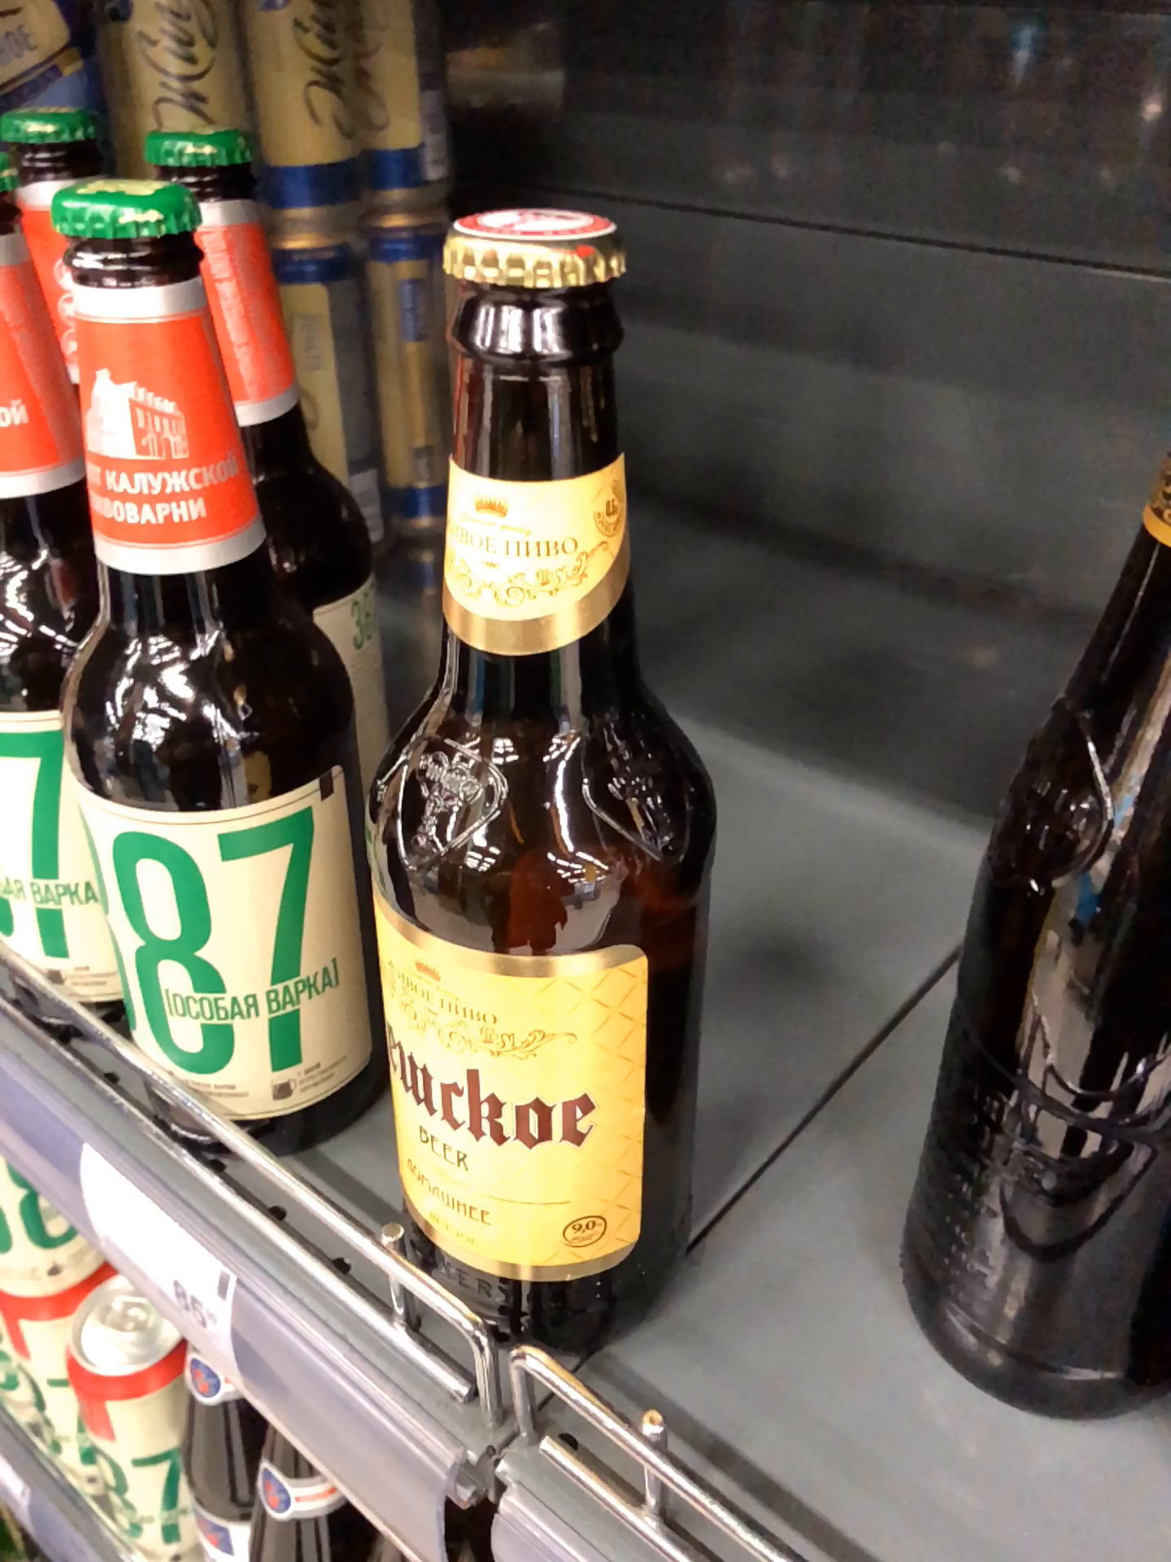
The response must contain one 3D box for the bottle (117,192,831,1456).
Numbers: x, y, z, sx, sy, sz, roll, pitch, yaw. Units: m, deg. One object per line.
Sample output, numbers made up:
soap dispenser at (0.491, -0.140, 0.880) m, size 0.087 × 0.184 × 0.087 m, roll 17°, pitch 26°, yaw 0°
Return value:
bottle at (-0.016, 0.016, 0.269) m, size 0.080 × 0.239 × 0.080 m, roll 0°, pitch 32°, yaw 0°
